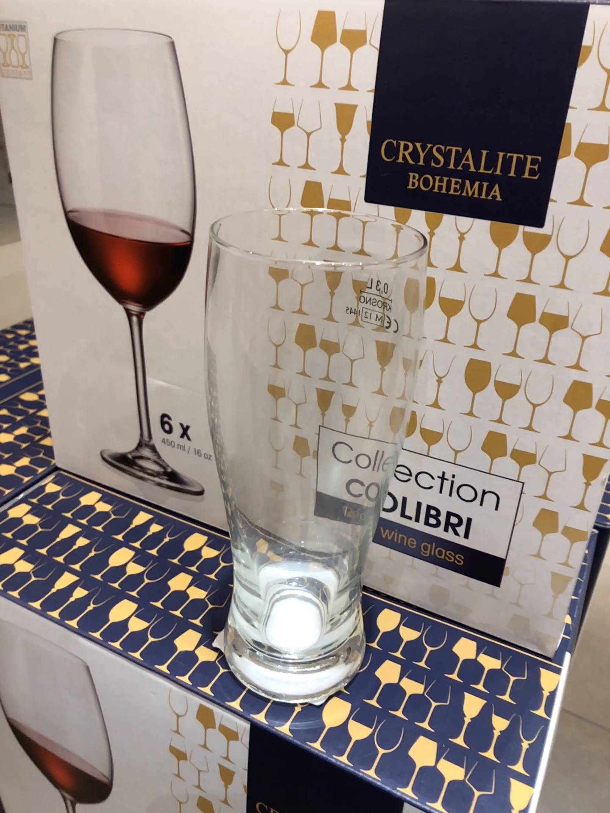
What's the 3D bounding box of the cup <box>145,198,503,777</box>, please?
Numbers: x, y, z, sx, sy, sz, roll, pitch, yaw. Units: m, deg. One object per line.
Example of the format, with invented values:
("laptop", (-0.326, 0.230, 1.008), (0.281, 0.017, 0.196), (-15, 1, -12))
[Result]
("cup", (0.006, 0.027, 0.250), (0.080, 0.179, 0.080), (2, 28, -1))
